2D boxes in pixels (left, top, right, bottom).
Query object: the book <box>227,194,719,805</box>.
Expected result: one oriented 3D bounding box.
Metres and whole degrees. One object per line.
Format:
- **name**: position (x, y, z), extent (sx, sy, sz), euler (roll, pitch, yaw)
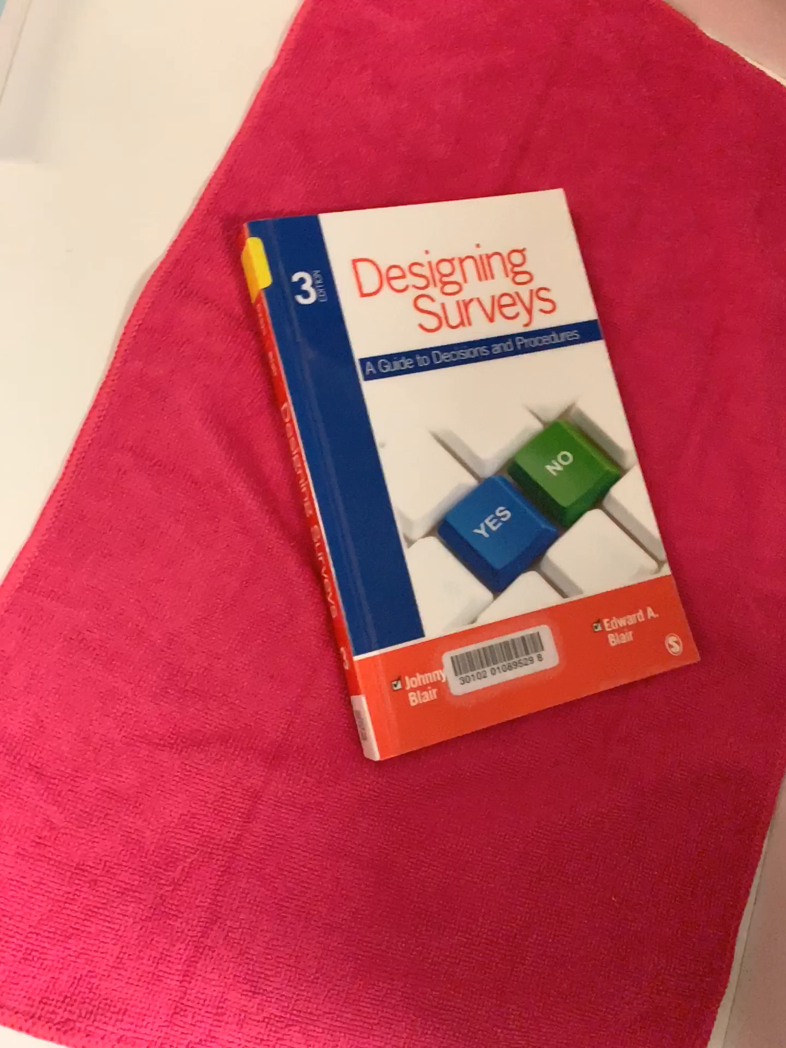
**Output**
- **book**: position (0.037, -0.021, 0.351), extent (0.160, 0.026, 0.230), euler (-14, 86, -19)
